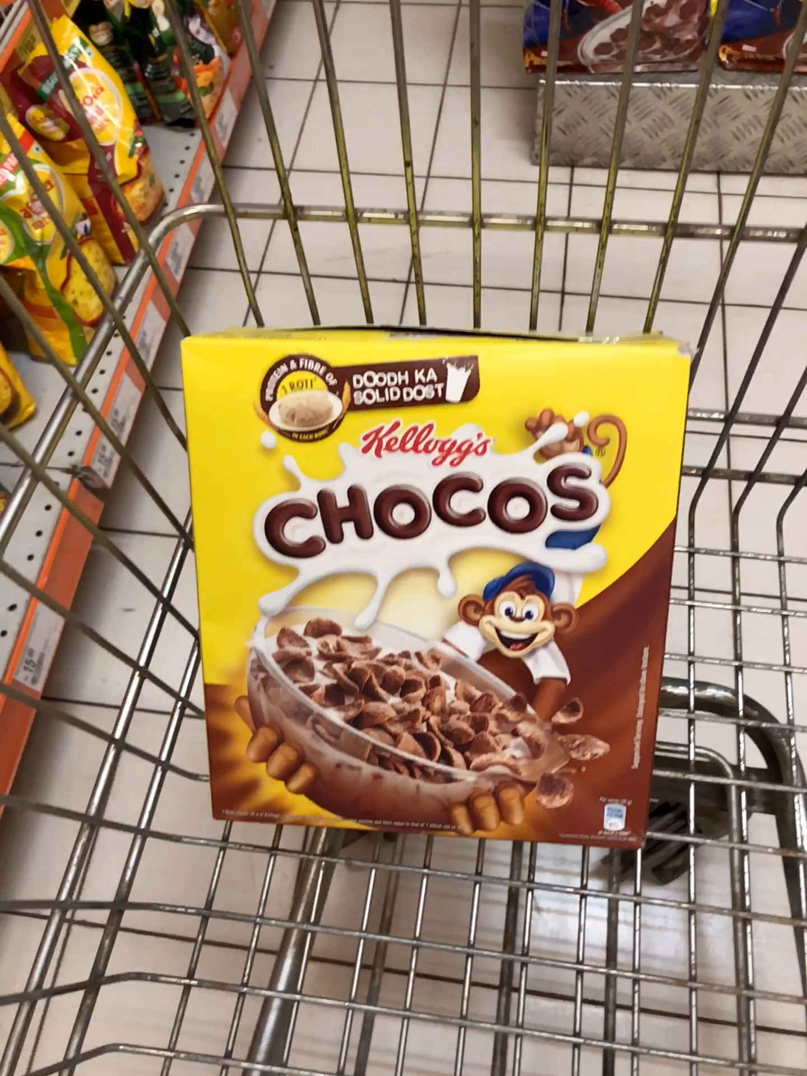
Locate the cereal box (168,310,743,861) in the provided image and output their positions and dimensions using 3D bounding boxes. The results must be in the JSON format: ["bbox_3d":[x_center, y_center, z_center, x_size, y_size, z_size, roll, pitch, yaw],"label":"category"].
[{"bbox_3d":[0.017,0.015,0.357,0.190,0.070,0.200,2,107,5],"label":"cereal box"}]
